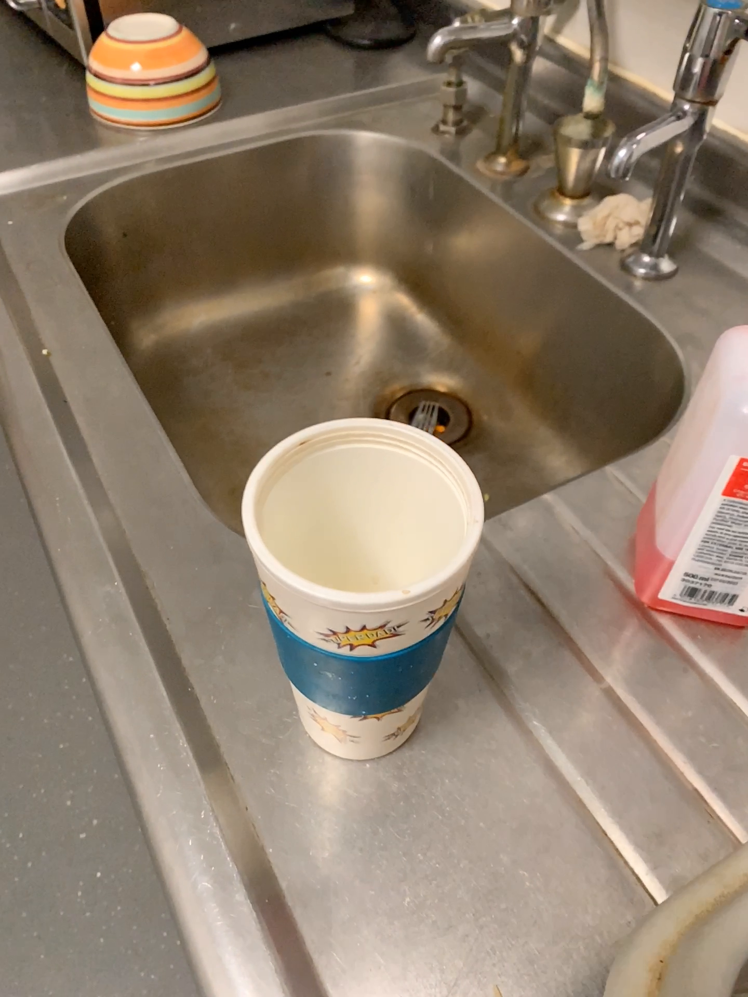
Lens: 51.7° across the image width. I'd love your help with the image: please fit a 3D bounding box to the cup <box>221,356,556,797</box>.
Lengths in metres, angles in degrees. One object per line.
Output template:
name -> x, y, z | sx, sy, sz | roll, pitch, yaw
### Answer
cup -> 0.000, 0.041, 0.342 | 0.092, 0.167, 0.090 | 1, 48, -1
